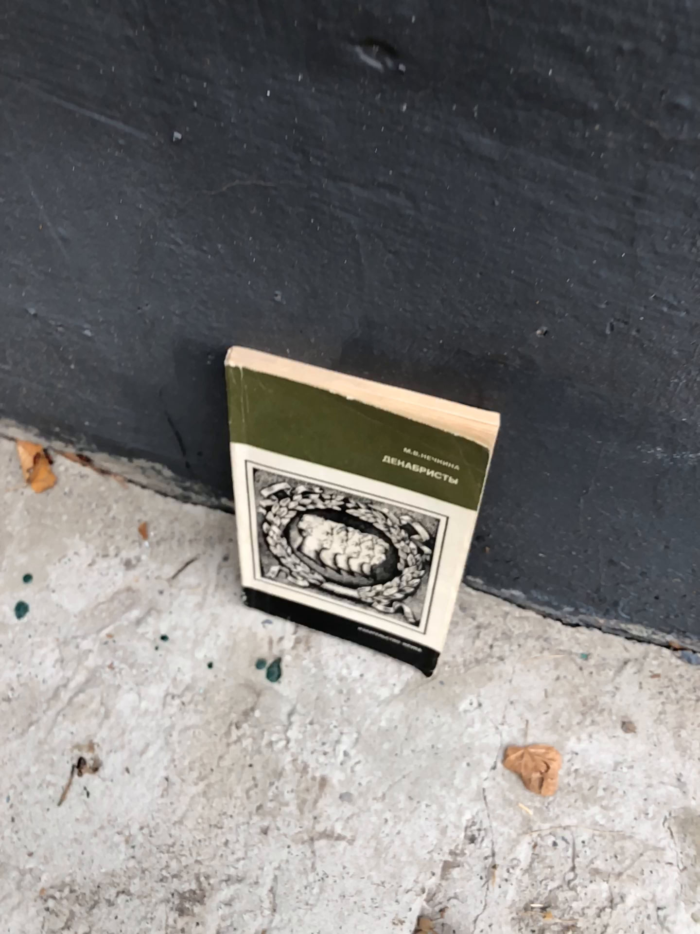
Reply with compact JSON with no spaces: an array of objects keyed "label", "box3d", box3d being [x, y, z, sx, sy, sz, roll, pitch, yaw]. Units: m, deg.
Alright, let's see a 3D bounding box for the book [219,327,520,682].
[{"label":"book","box3d":[-0.001,0.027,0.366,0.120,0.169,0.020,17,44,11]}]
